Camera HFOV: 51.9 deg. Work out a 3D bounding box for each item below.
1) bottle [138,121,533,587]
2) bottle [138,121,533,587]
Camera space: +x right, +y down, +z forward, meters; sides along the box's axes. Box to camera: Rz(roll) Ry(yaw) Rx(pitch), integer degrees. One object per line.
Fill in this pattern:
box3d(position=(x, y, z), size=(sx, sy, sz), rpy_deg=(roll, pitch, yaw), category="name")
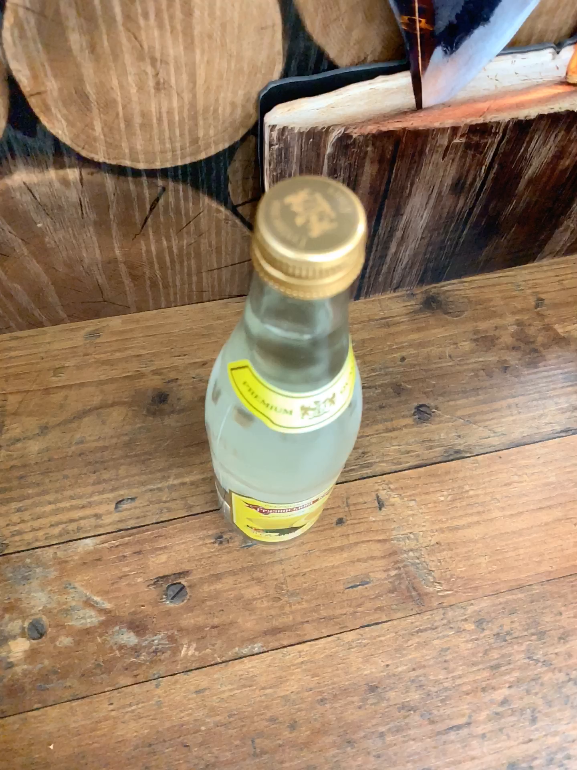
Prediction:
box3d(position=(0.000, 0.019, 0.226), size=(0.070, 0.220, 0.070), rpy_deg=(2, 64, -3), category="bottle")
box3d(position=(0.000, 0.019, 0.226), size=(0.070, 0.220, 0.070), rpy_deg=(2, 64, -3), category="bottle")
